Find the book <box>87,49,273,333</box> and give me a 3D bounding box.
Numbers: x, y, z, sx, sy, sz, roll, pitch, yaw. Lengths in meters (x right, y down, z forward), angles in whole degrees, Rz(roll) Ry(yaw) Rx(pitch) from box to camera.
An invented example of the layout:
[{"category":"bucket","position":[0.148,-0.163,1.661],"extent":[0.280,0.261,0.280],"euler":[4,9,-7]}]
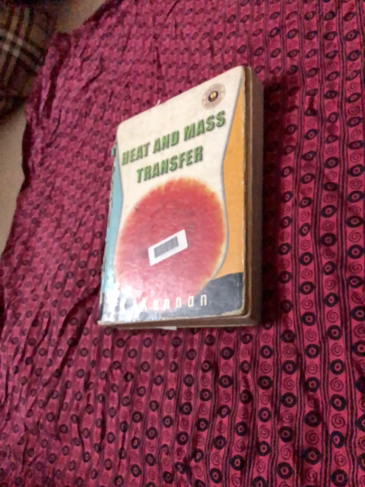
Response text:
[{"category":"book","position":[-0.004,-0.041,0.411],"extent":[0.186,0.039,0.249],"euler":[-11,66,38]}]
